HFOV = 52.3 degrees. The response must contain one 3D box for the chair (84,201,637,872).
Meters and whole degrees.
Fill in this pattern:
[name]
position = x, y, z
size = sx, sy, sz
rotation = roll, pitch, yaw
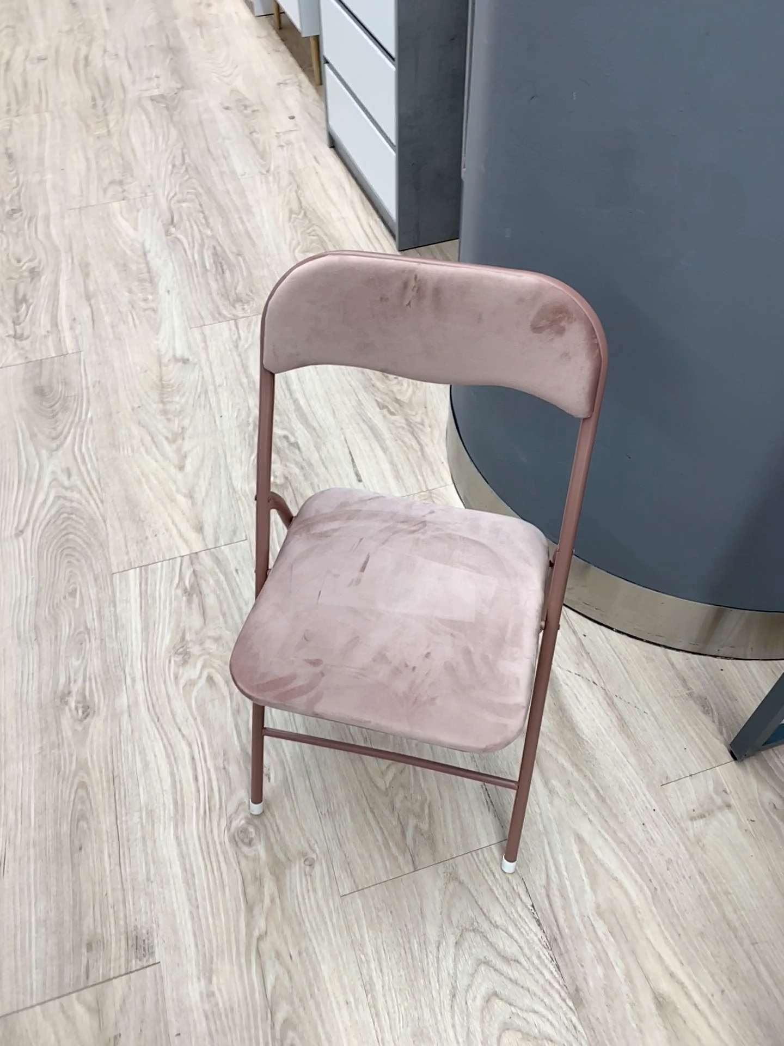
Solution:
[chair]
position = 0.013, 0.073, 1.106
size = 0.460, 0.797, 0.482
rotation = 8, 51, 7
